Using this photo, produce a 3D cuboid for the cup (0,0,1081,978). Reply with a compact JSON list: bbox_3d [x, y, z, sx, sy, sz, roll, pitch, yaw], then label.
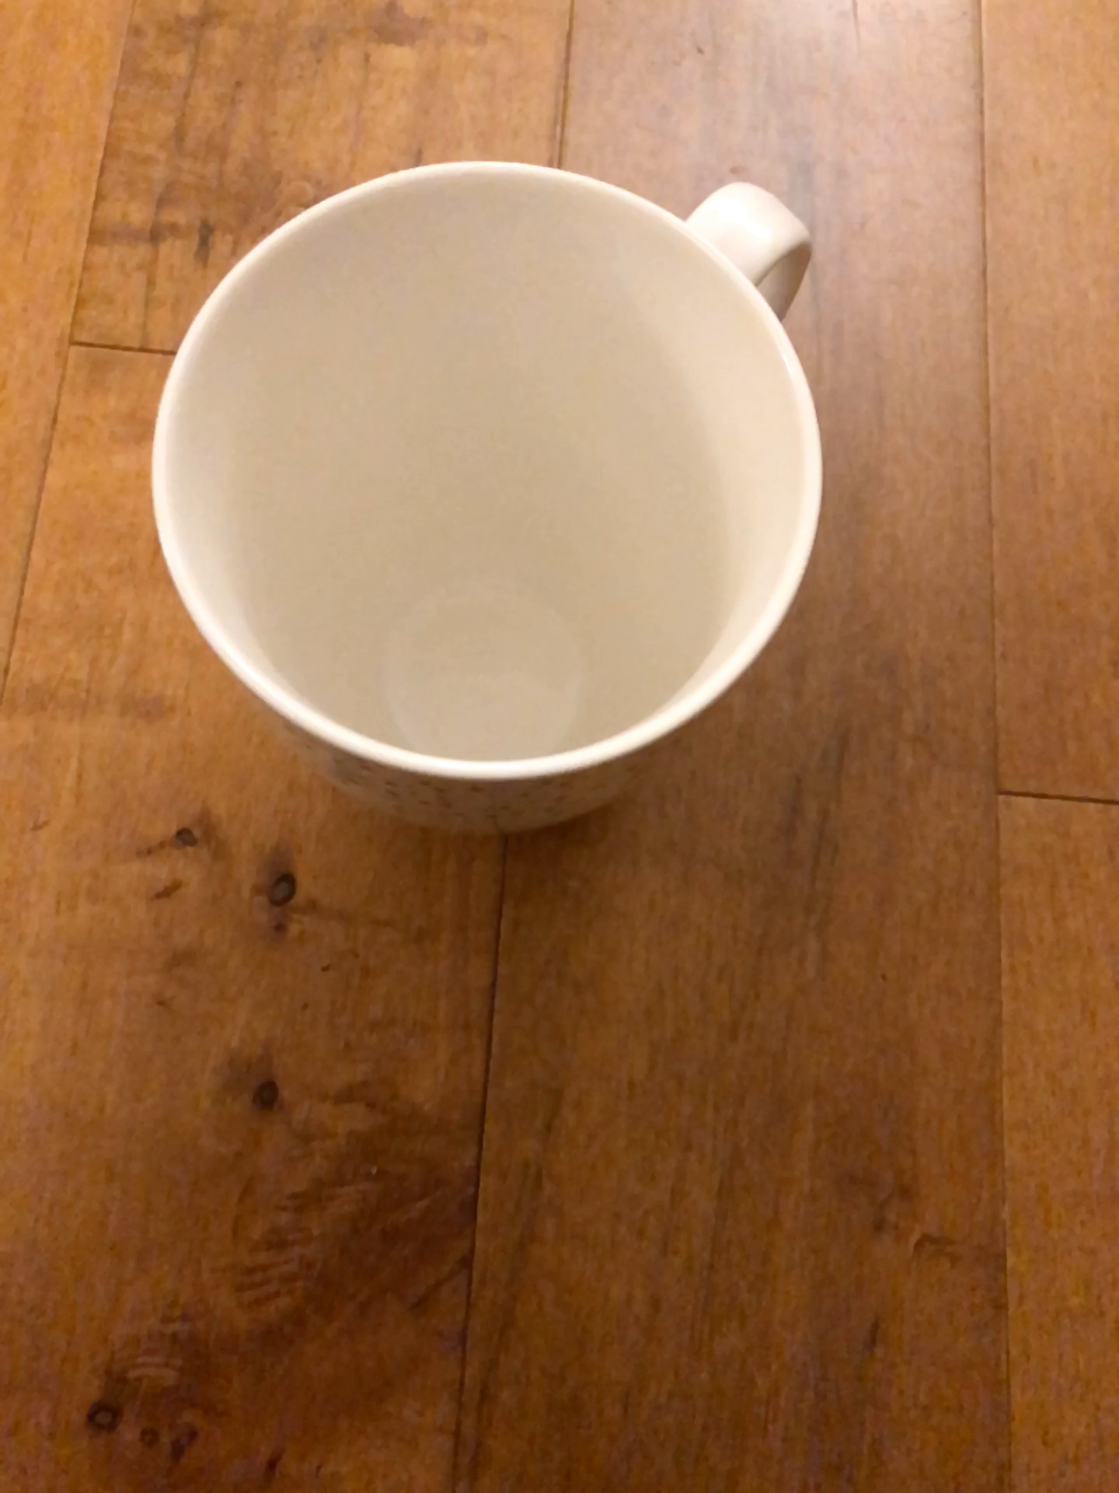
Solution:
[{"bbox_3d":[-0.004,-0.048,0.248,0.110,0.110,0.140,38,76,5],"label":"cup"}]
